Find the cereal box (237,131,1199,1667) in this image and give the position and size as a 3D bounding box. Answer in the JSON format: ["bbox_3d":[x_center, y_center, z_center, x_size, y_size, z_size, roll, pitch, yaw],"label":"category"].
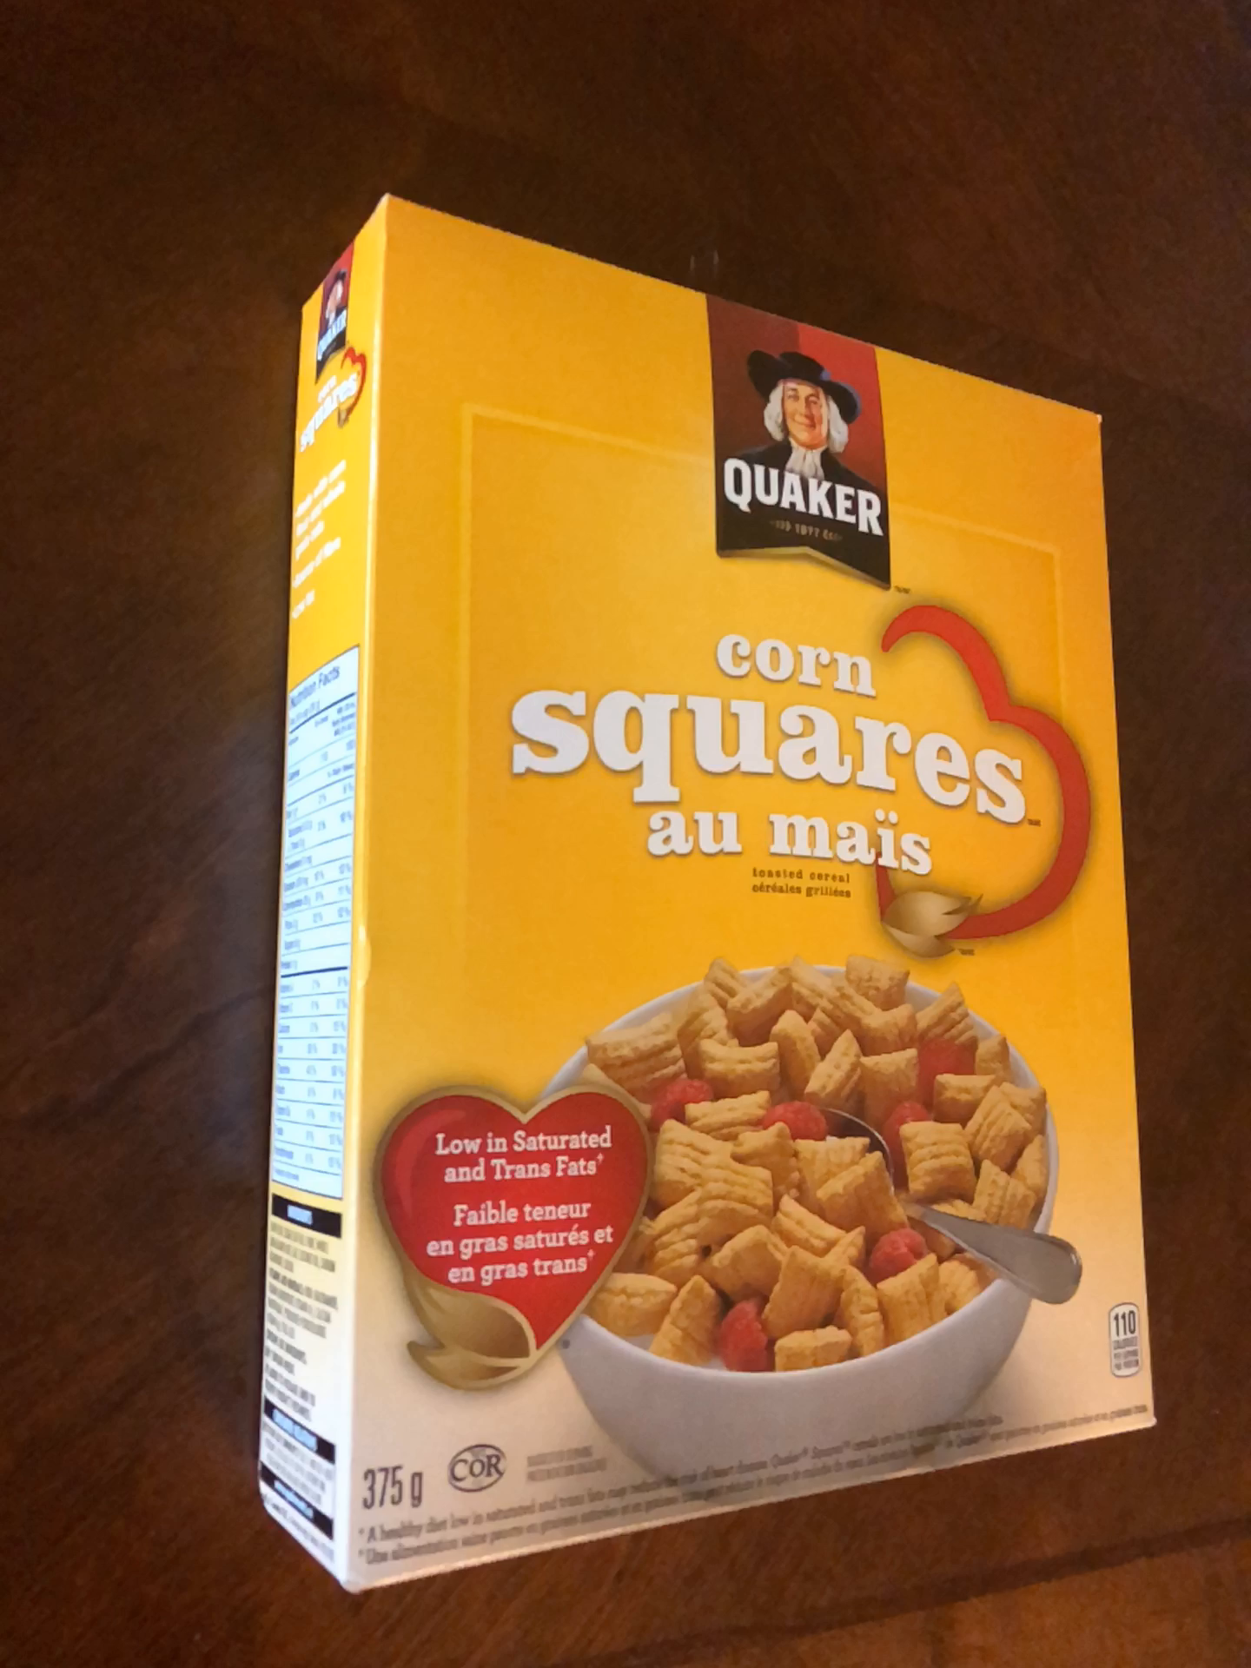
[{"bbox_3d":[0.032,0.012,0.319,0.220,0.050,0.270,5,80,-32],"label":"cereal box"}]
